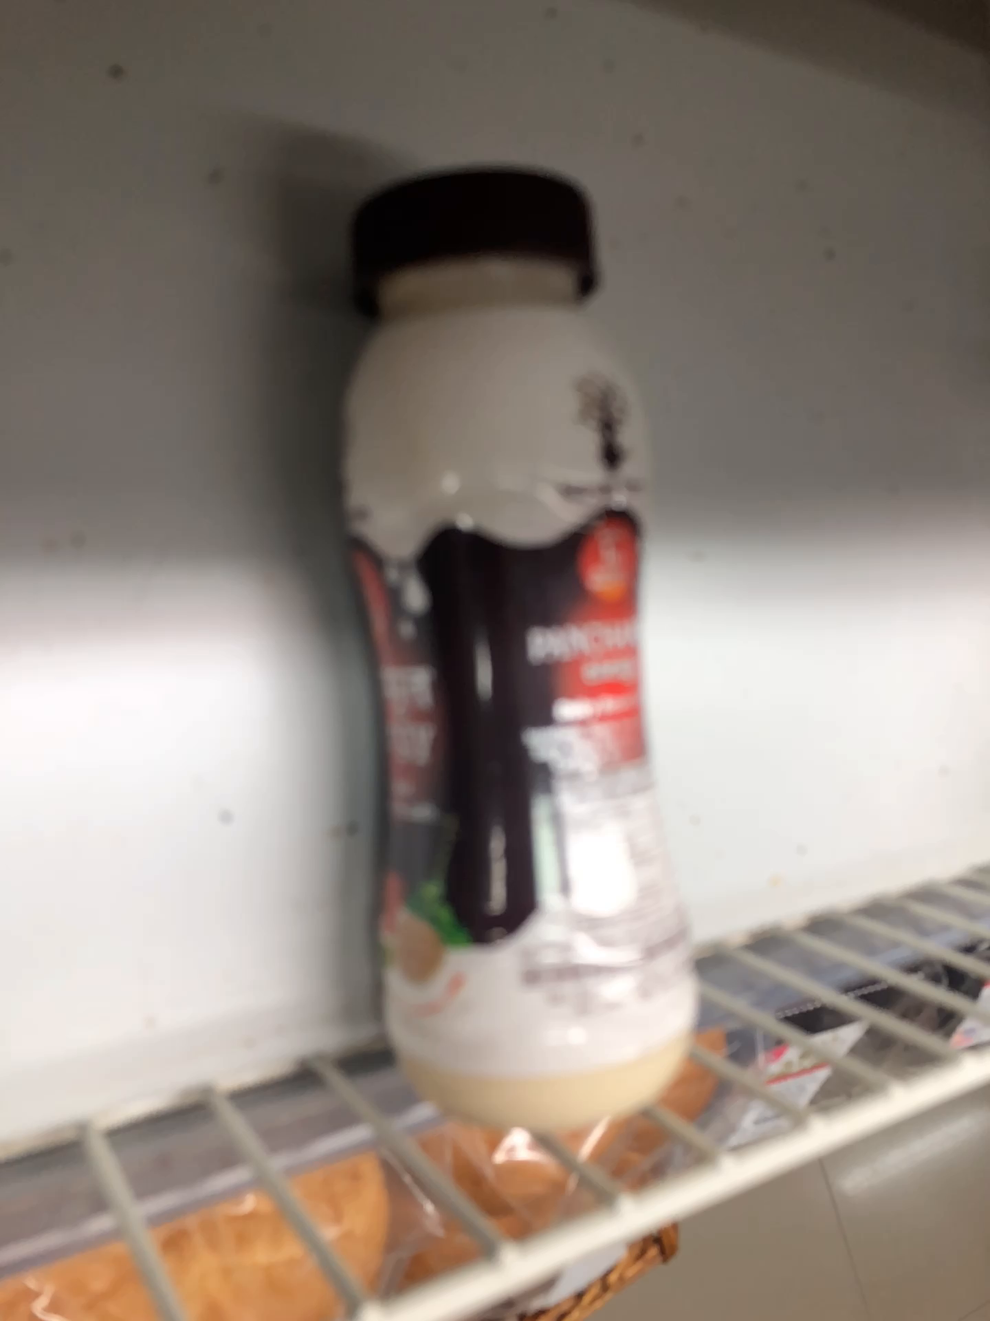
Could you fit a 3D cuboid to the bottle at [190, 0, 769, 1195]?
[{"bbox_3d":[-0.002,-0.013,0.178,0.060,0.060,0.160,-8,96,-39],"label":"bottle"}]
